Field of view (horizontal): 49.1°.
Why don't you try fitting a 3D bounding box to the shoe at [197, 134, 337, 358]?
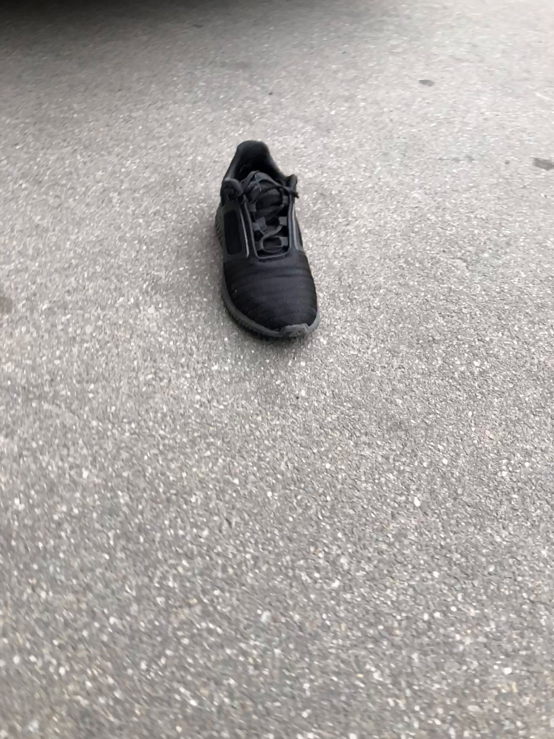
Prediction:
[{"bbox_3d":[-0.025,-0.154,0.699,0.100,0.109,0.282,-5,46,-12],"label":"shoe"}]
